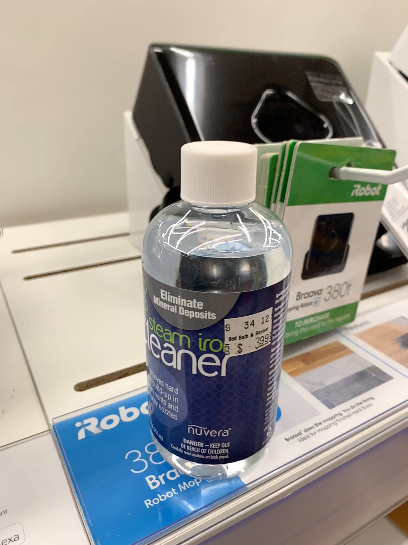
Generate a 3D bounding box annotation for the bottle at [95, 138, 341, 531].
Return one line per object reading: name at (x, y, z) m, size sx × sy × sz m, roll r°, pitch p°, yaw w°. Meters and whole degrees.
bottle at (0.004, 0.020, 0.172) m, size 0.060 × 0.129 × 0.060 m, roll 2°, pitch 24°, yaw -1°
